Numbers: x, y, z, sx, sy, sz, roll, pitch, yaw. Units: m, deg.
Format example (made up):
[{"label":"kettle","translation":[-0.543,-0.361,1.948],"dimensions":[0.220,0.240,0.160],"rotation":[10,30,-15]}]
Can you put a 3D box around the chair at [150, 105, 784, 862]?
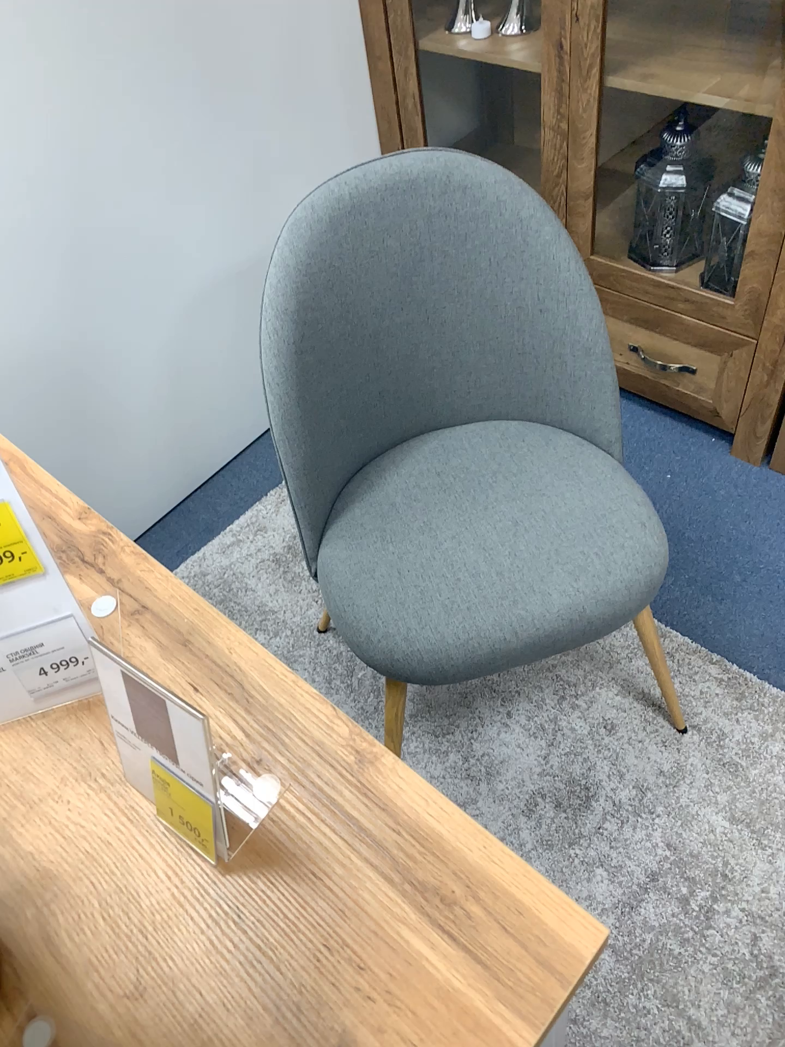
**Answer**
[{"label":"chair","translation":[0.093,-0.029,1.115],"dimensions":[0.530,0.737,0.572],"rotation":[-20,49,-7]}]
